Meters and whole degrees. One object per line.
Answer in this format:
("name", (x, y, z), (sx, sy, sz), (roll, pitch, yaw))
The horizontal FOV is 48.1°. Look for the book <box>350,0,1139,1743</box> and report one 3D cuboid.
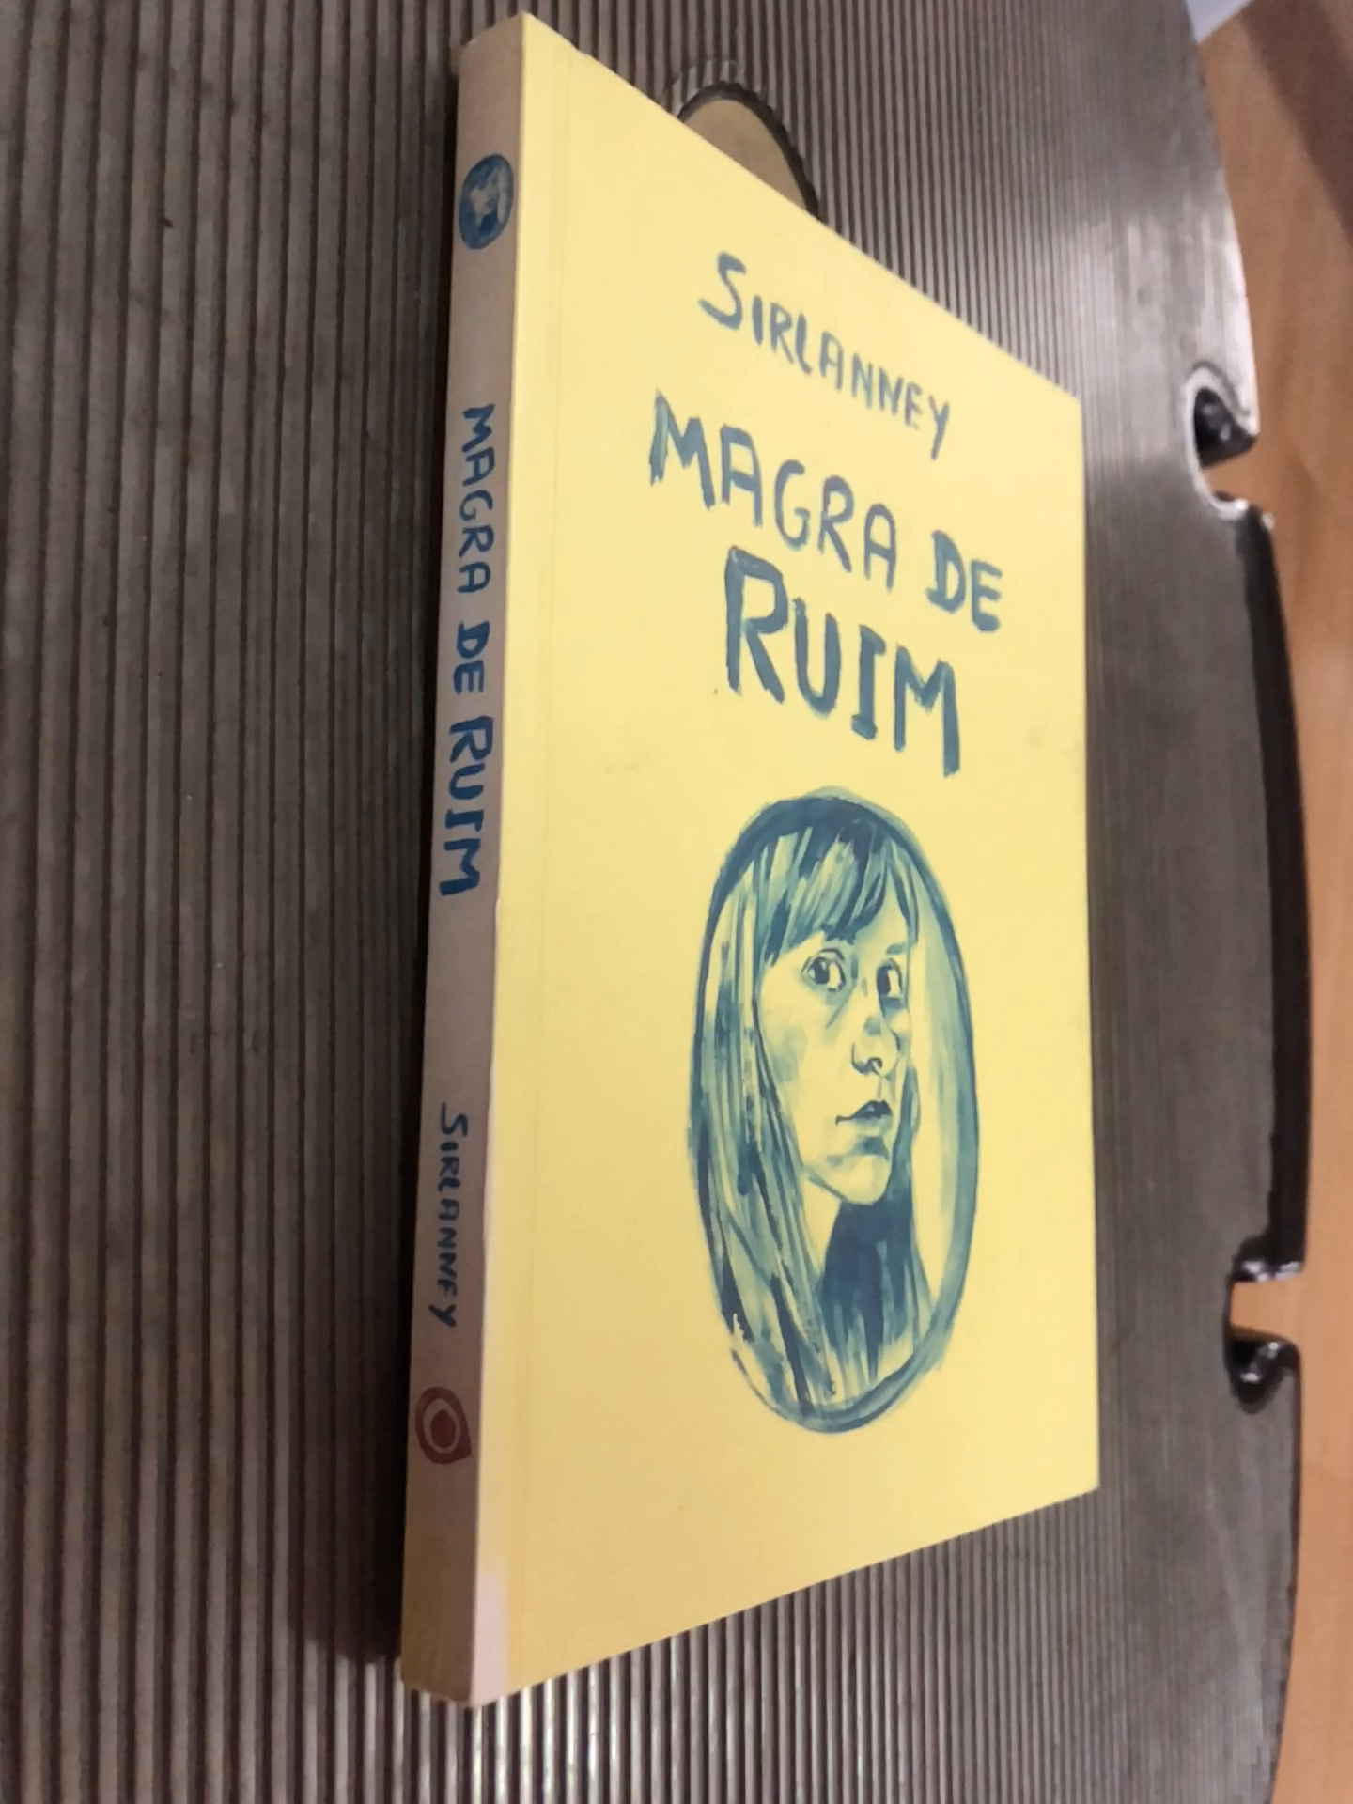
("book", (0.026, -0.008, 0.231), (0.151, 0.020, 0.210), (10, 79, -46))
